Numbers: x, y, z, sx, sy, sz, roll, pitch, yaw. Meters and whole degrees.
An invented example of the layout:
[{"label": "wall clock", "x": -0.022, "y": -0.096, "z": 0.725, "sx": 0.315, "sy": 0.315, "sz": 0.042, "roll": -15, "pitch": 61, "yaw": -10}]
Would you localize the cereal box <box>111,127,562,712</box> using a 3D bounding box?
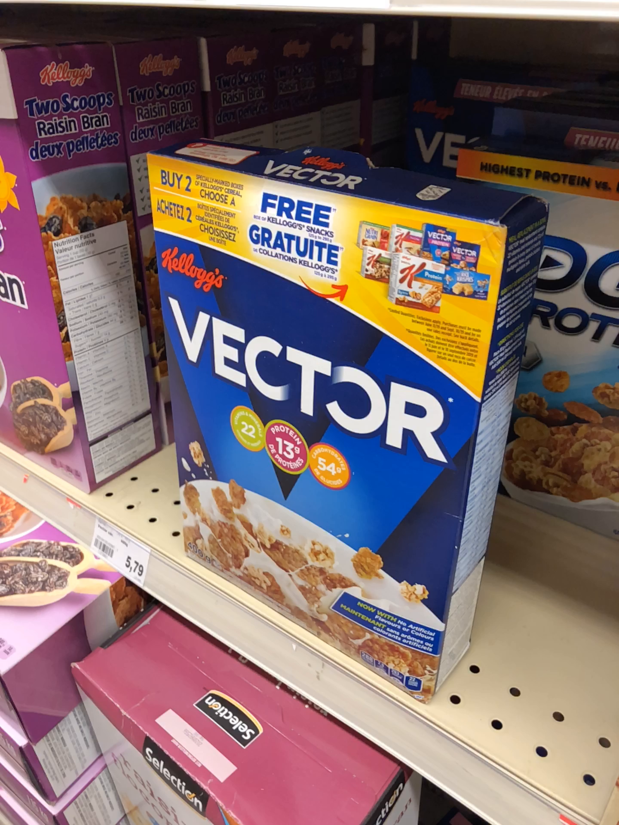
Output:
[{"label": "cereal box", "x": 0.002, "y": 0.004, "z": 0.372, "sx": 0.201, "sy": 0.268, "sz": 0.060, "roll": 22, "pitch": 39, "yaw": 31}]
